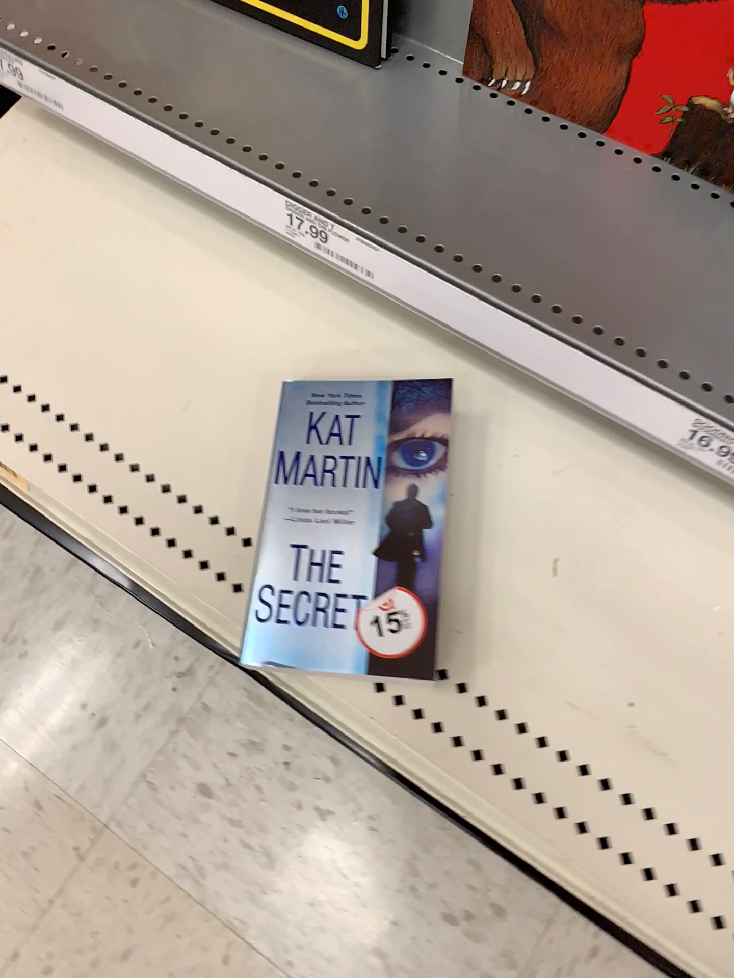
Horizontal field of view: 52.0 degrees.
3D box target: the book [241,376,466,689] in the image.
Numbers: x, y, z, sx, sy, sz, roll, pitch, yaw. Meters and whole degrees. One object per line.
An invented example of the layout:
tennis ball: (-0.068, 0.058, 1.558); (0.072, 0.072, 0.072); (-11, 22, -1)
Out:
book: (-0.002, 0.021, 0.420); (0.105, 0.040, 0.164); (3, 71, 9)
